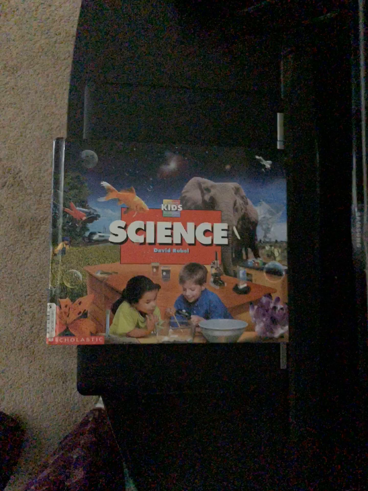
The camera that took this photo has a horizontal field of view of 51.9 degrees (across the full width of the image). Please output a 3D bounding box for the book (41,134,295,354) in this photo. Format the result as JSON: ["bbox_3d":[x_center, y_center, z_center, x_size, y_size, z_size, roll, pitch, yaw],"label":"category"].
[{"bbox_3d":[-0.013,0.000,0.442,0.280,0.030,0.240,1,85,-6],"label":"book"}]
